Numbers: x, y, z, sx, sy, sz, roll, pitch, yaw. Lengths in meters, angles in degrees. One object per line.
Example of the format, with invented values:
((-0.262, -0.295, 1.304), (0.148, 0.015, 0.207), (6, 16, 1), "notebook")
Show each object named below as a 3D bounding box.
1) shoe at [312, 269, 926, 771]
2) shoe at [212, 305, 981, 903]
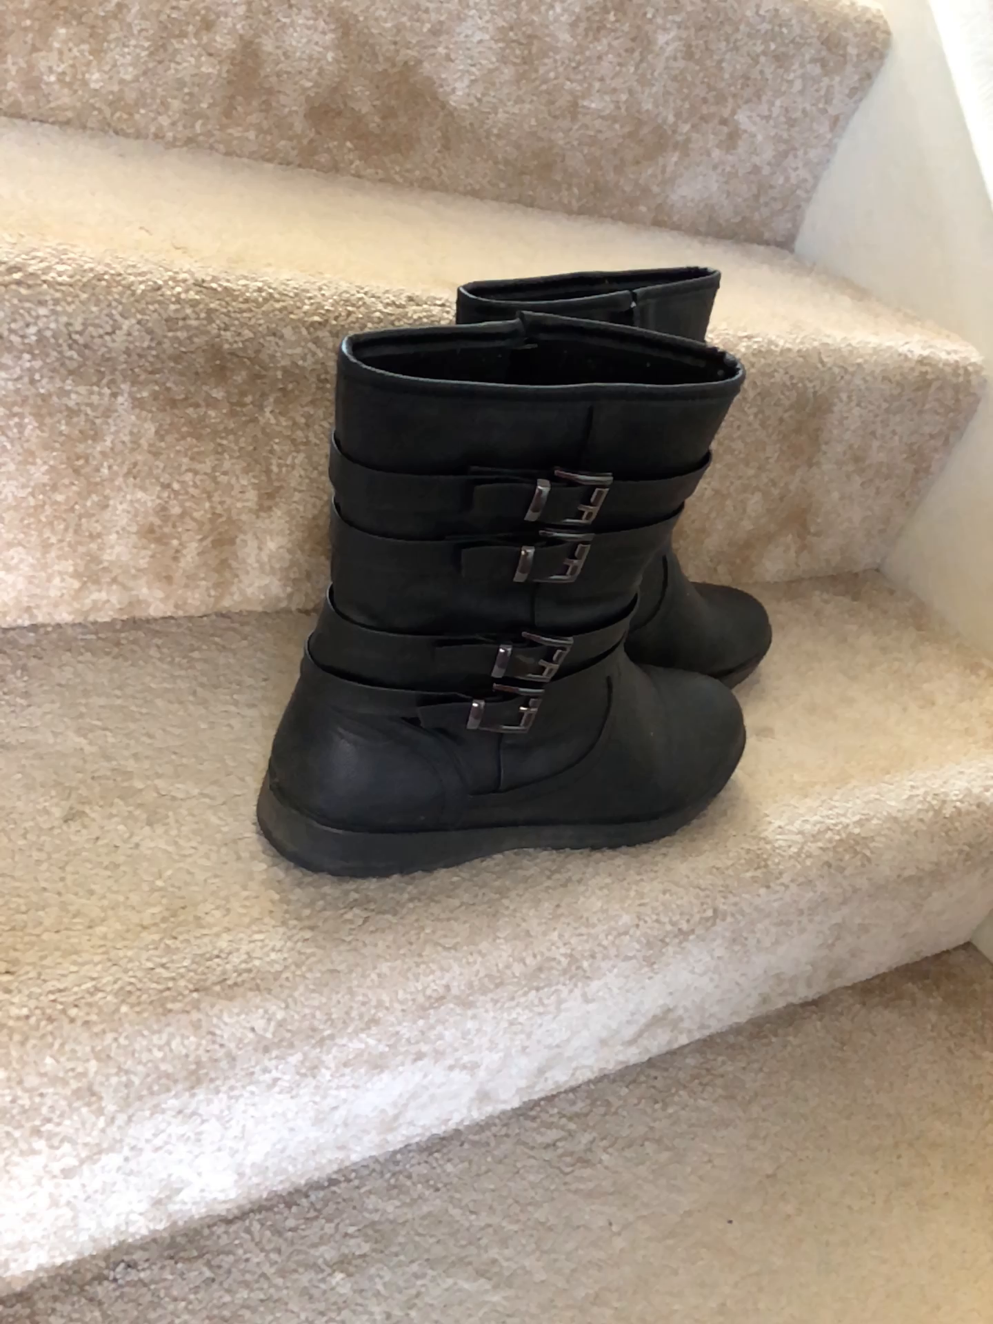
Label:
((0.056, -0.077, 0.589), (0.271, 0.218, 0.101), (-7, 38, -26), "shoe")
((0.036, -0.022, 0.474), (0.270, 0.199, 0.101), (-2, 36, -29), "shoe")
